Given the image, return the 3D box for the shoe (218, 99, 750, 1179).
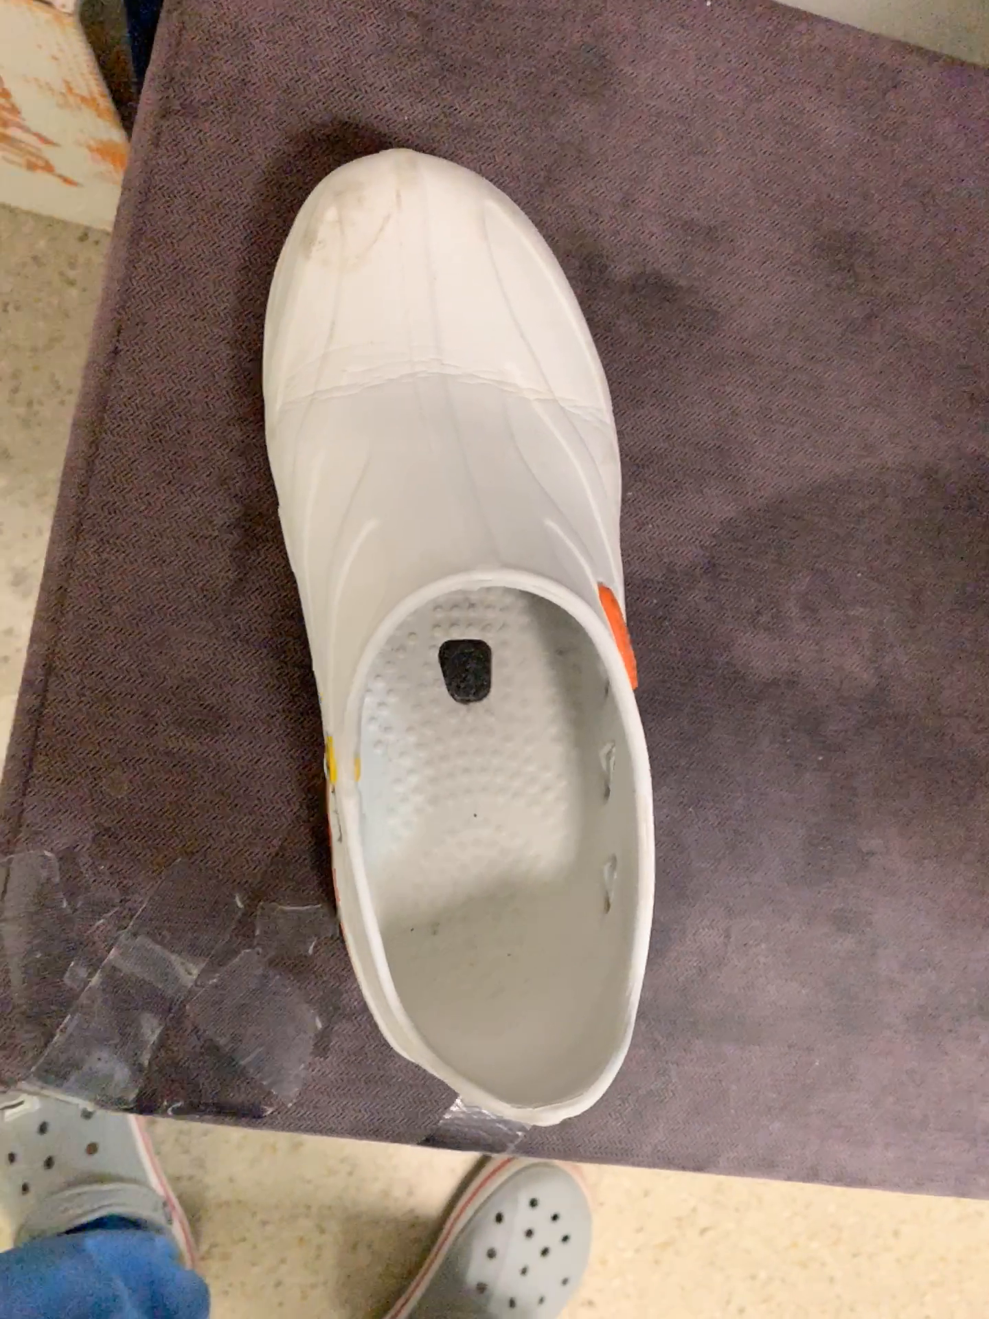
[{"bbox_3d":[-0.007,-0.007,0.254,0.091,0.093,0.213,-6,93,-10],"label":"shoe"}]
